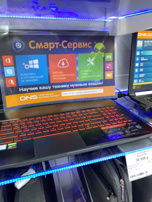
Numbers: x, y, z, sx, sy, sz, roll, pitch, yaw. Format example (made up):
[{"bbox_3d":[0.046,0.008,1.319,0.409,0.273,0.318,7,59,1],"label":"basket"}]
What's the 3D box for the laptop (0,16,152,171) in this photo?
[{"bbox_3d":[-0.026,-0.063,0.413,0.404,0.237,0.288,-6,22,-17],"label":"laptop"}]
